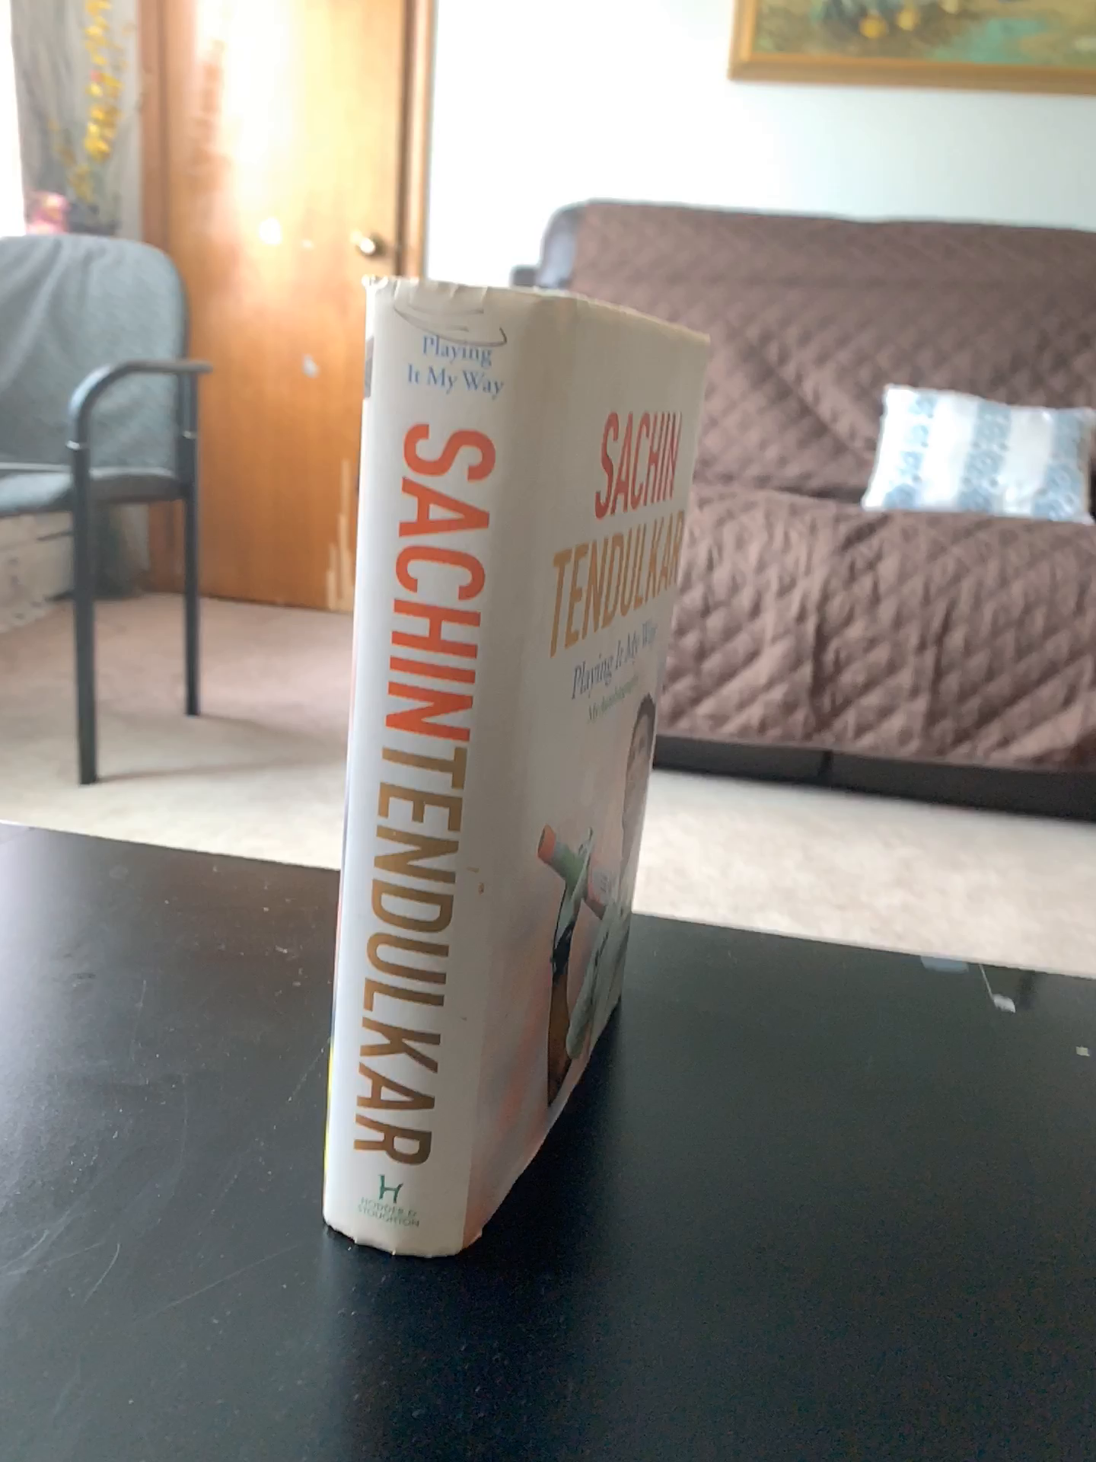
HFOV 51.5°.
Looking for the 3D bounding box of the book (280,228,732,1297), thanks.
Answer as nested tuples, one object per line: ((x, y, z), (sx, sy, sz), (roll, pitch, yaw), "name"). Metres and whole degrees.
((-0.005, -0.003, 0.330), (0.060, 0.239, 0.171), (10, 17, 16), "book")
